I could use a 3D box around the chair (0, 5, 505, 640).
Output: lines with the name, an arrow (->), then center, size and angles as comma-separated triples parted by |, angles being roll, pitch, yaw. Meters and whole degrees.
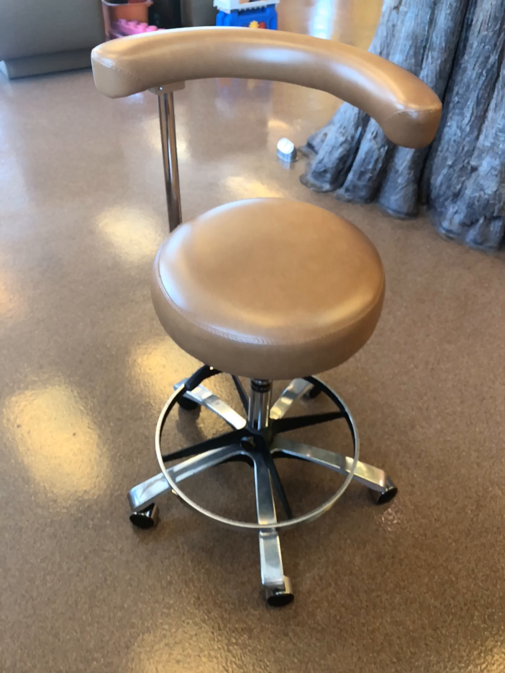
chair -> 0.027, -0.022, 0.971 | 0.611, 0.804, 0.594 | 13, 44, 11
